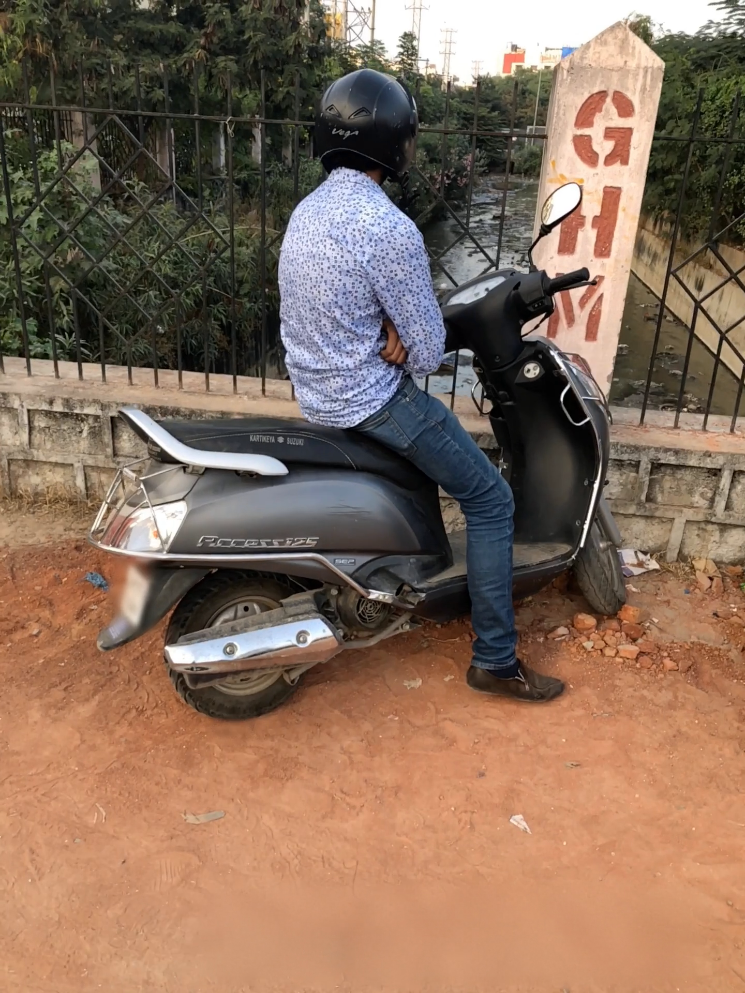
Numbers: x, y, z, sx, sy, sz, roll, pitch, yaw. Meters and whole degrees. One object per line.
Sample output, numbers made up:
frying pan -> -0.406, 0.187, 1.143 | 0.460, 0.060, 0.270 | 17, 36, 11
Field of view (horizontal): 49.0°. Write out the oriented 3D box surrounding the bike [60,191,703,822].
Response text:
bike -> 0.063, -0.155, 2.432 | 1.582, 1.216, 0.799 | -20, 32, -36
